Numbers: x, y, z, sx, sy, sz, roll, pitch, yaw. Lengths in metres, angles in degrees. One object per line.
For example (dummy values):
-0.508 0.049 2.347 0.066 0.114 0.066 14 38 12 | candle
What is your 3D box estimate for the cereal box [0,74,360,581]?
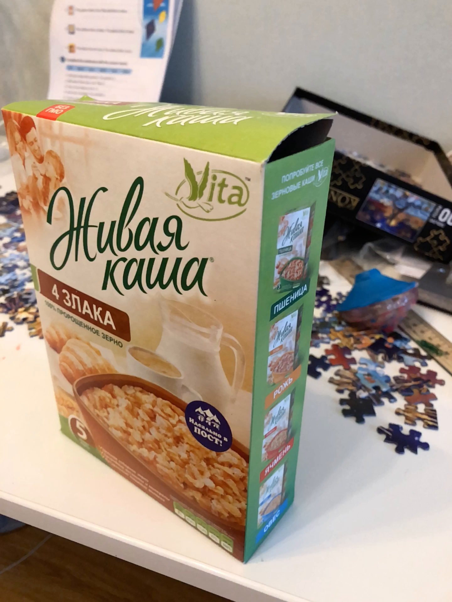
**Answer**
-0.026 0.011 0.244 0.140 0.209 0.050 22 35 32 | cereal box
